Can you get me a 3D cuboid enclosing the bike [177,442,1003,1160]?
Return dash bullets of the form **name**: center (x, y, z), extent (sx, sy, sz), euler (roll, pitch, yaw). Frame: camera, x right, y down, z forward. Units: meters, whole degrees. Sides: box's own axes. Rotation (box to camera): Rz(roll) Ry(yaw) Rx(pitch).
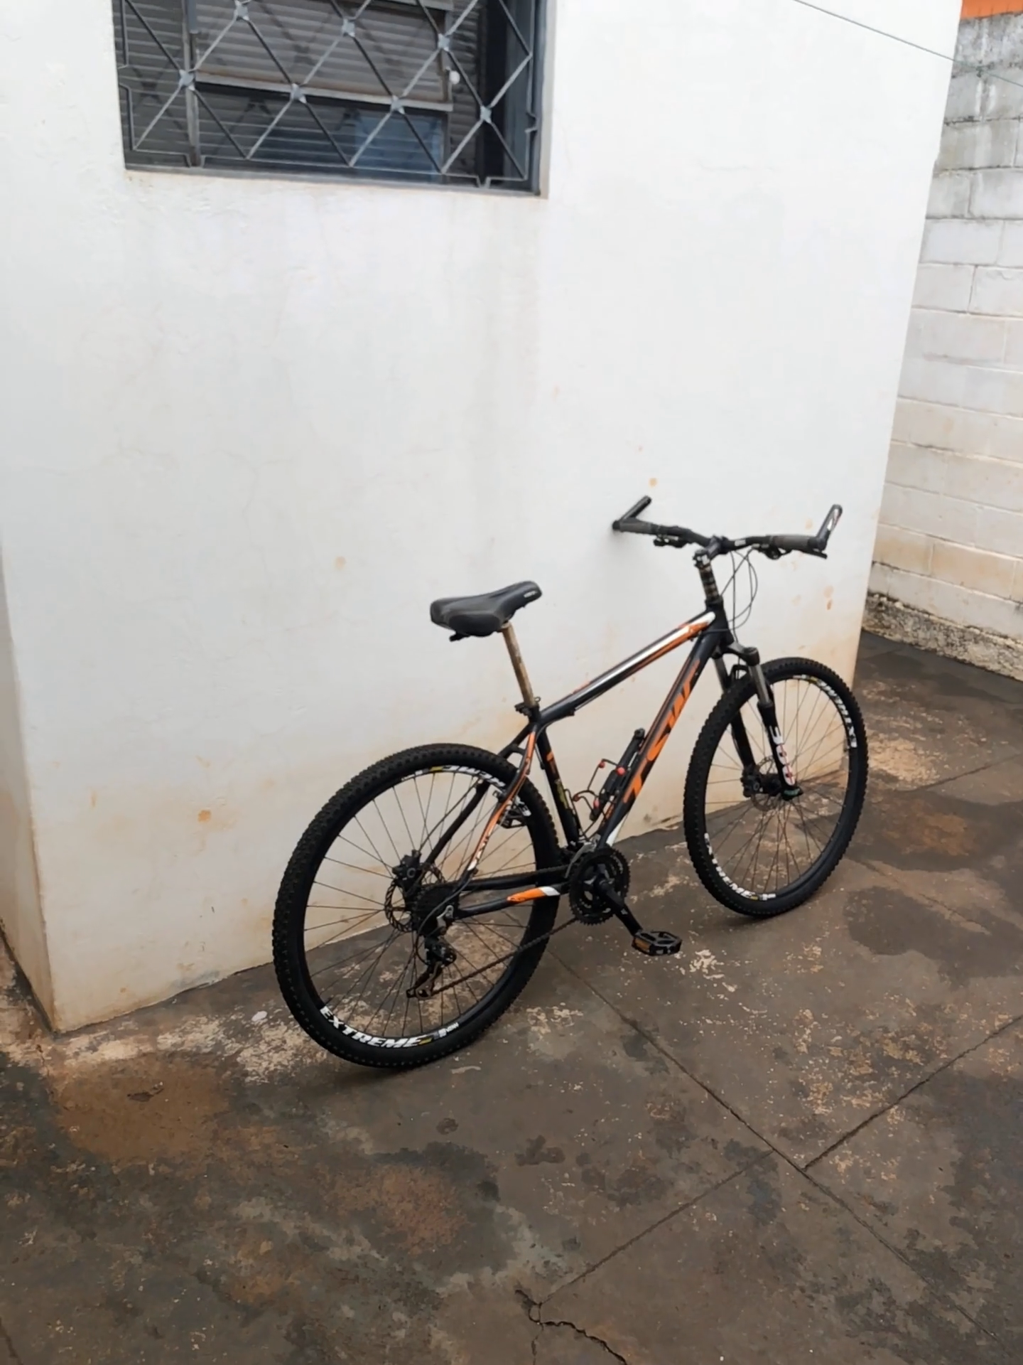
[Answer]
- **bike**: center (0.241, 0.098, 2.667), extent (1.769, 1.086, 0.723), euler (-13, 26, -35)
